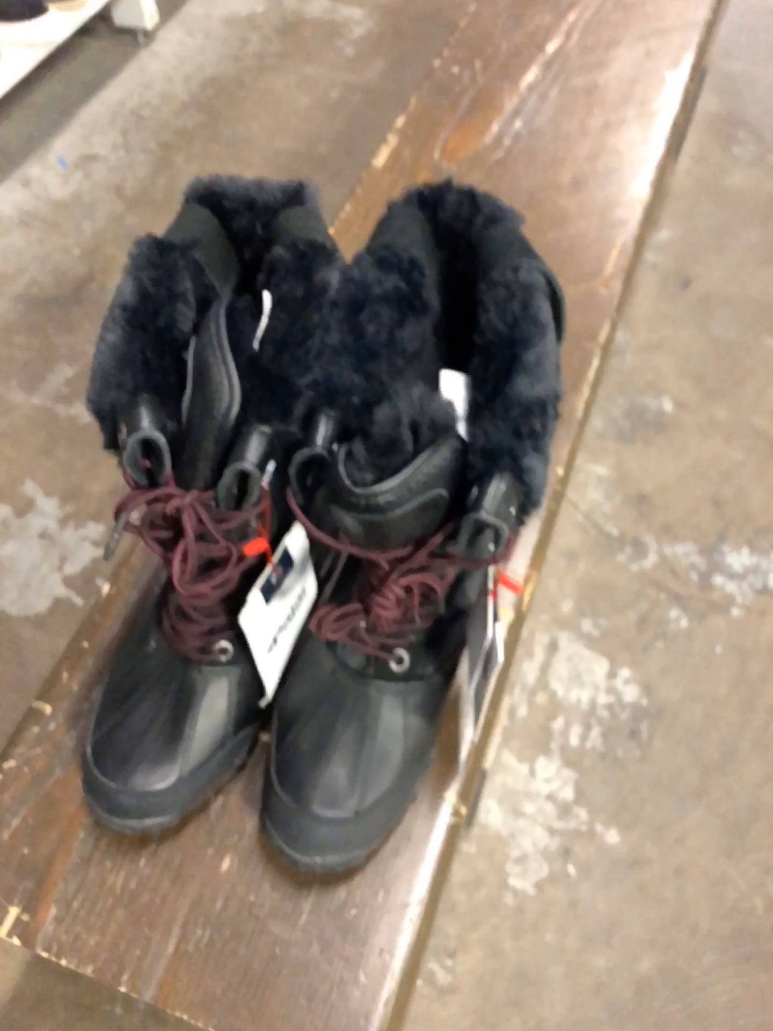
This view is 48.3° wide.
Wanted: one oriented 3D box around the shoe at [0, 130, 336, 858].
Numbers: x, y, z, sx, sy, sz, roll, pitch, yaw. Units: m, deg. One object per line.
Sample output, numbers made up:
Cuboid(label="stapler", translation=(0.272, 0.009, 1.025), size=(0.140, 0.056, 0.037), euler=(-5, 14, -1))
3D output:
Cuboid(label="shoe", translation=(-0.110, 0.007, 0.409), size=(0.100, 0.258, 0.221), euler=(14, 57, 8))

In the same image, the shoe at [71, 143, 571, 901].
Cuboid(label="shoe", translation=(-0.008, 0.019, 0.399), size=(0.100, 0.258, 0.231), euler=(14, 57, 8))
